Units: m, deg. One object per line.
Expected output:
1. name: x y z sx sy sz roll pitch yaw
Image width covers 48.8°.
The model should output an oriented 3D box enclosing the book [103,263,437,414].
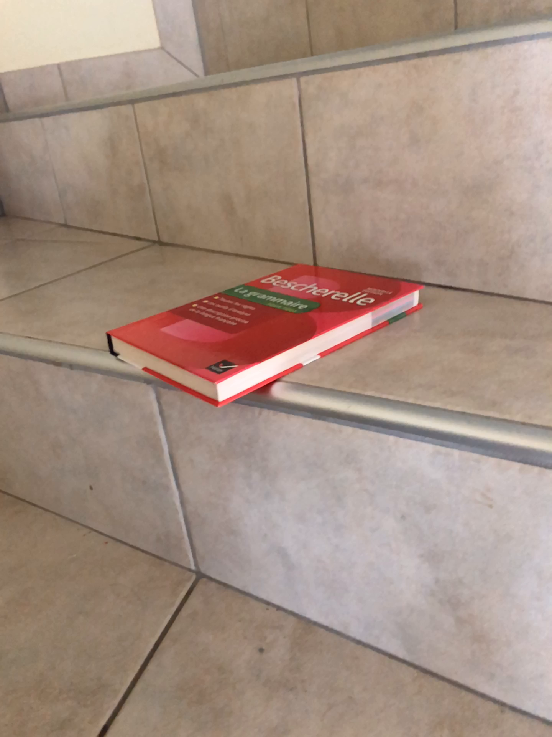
1. book: -0.002 -0.035 0.449 0.202 0.020 0.143 -25 28 -34
